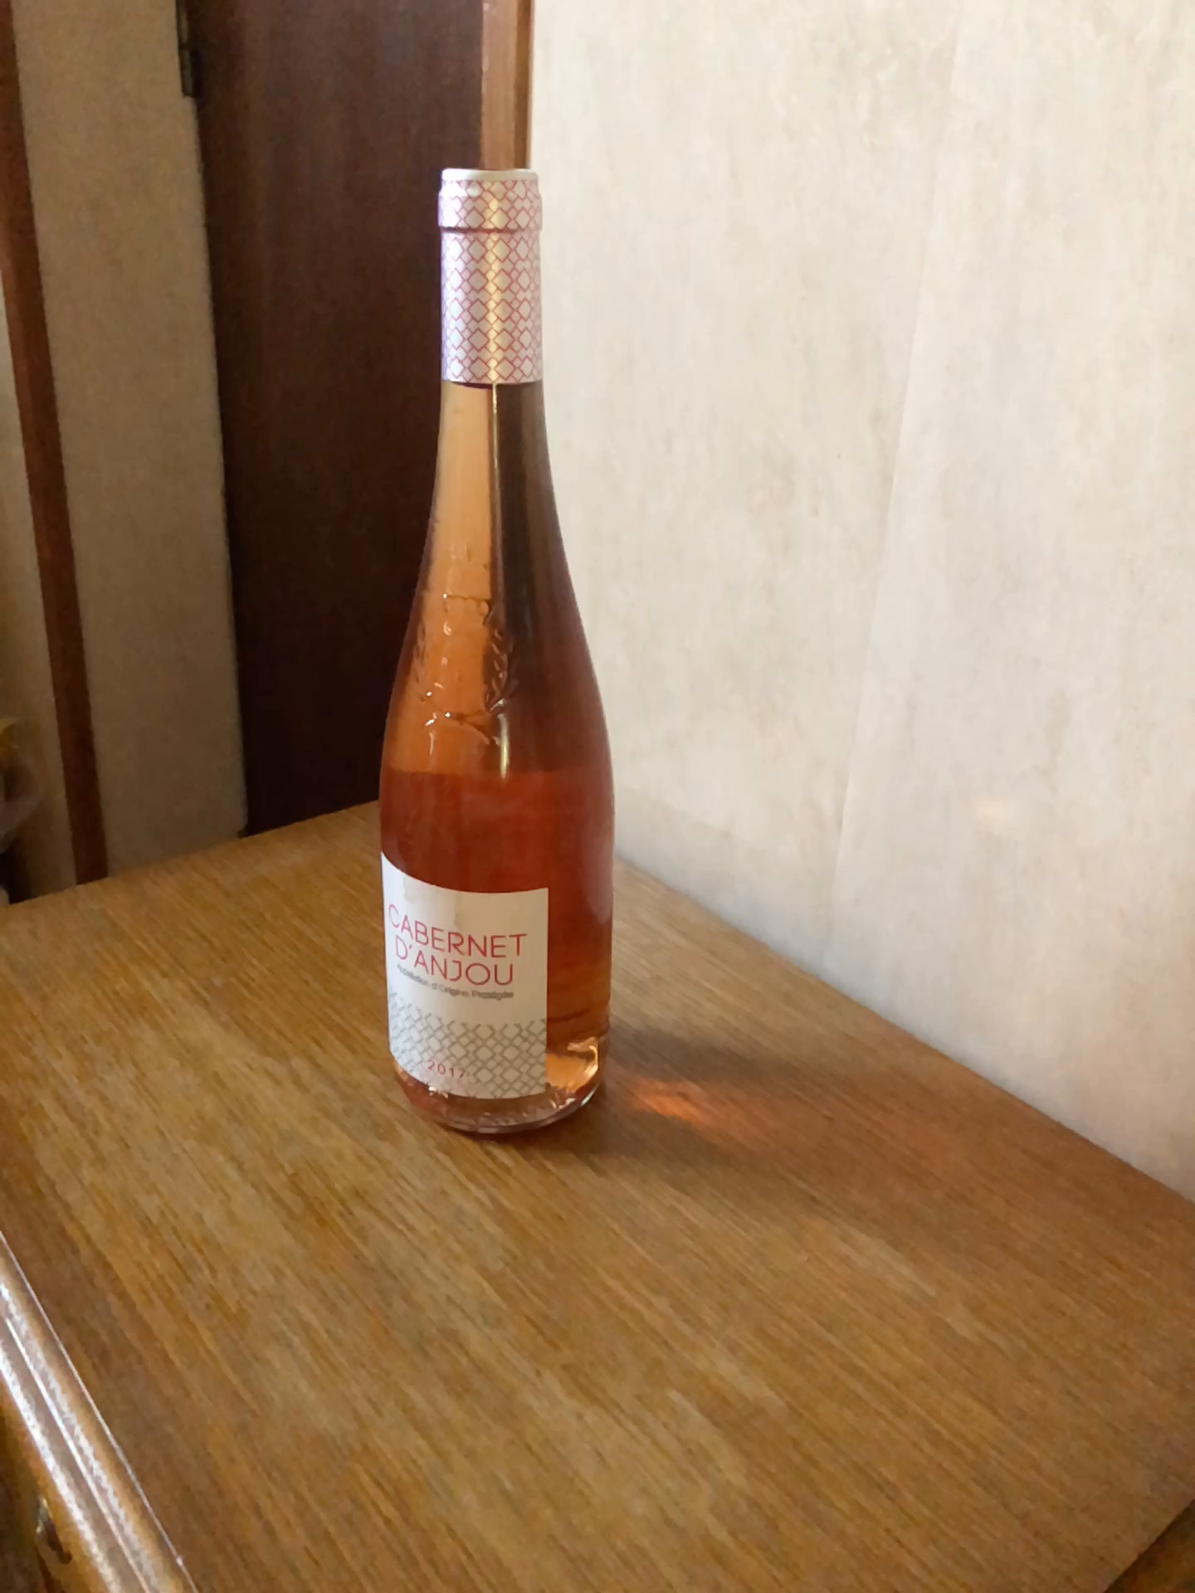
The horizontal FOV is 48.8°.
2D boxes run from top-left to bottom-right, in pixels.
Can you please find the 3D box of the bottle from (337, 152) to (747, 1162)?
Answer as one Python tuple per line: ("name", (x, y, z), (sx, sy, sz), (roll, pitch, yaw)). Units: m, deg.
("bottle", (-0.019, -0.040, 0.427), (0.080, 0.298, 0.091), (14, 27, 23))
